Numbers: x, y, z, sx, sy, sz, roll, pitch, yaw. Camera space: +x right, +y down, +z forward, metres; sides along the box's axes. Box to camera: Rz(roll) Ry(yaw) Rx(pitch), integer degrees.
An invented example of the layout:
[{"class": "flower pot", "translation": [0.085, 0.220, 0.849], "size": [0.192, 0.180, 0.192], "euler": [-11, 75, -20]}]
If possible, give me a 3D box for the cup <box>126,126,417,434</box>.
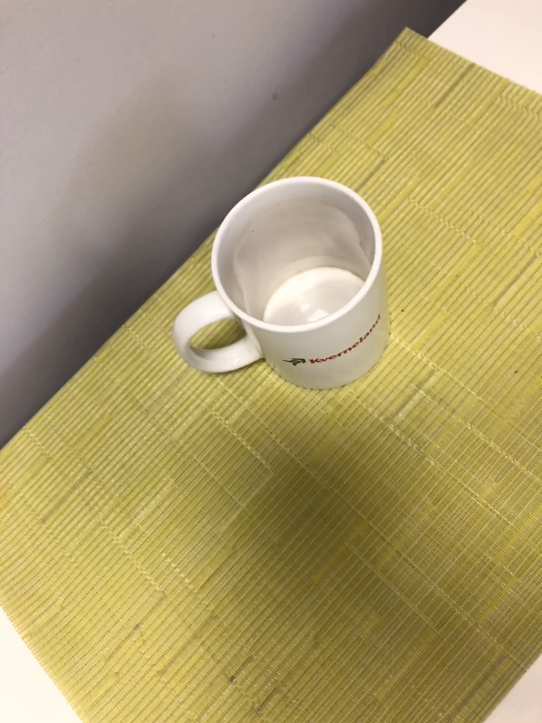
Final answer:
[{"class": "cup", "translation": [0.006, -0.037, 0.331], "size": [0.114, 0.100, 0.089], "euler": [-28, 65, 2]}]
